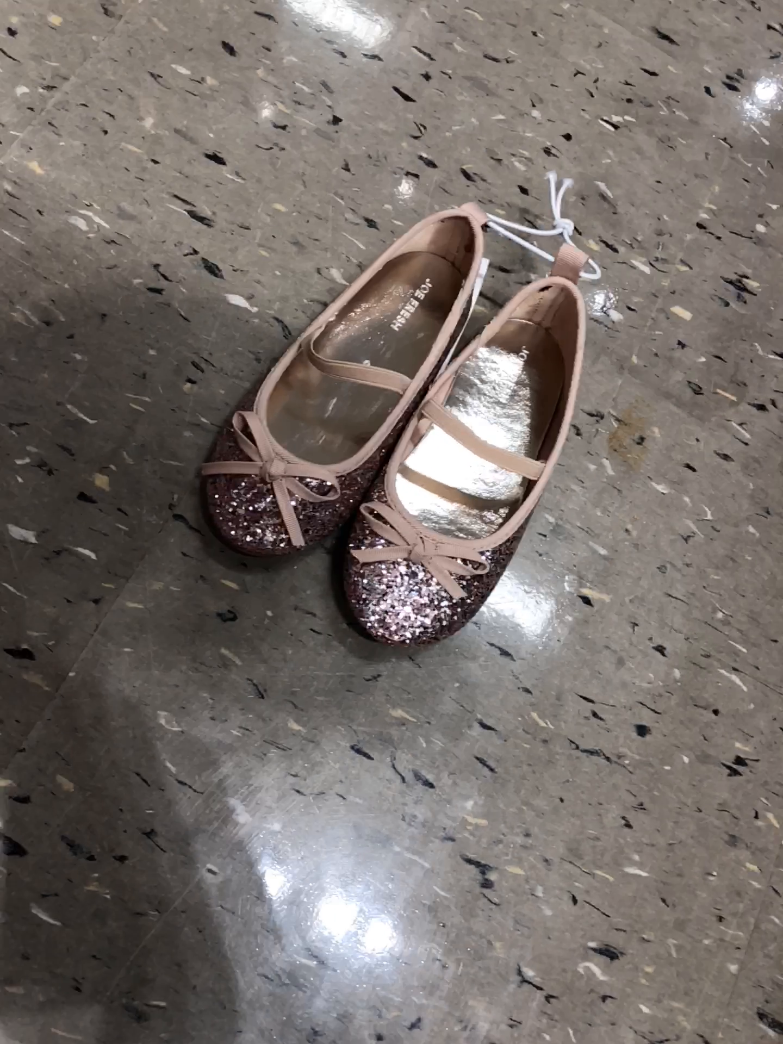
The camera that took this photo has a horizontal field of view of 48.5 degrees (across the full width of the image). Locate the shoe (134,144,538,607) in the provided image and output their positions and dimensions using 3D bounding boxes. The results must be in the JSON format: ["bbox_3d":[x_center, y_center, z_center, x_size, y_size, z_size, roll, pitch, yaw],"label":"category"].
[{"bbox_3d":[-0.021,-0.057,0.348,0.070,0.070,0.160,35,71,-1],"label":"shoe"}]

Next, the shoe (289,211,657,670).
[{"bbox_3d":[0.032,-0.031,0.354,0.070,0.070,0.160,30,71,-2],"label":"shoe"}]
